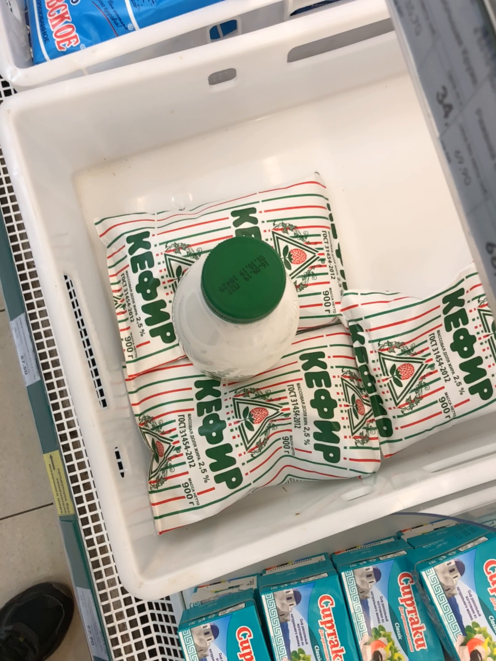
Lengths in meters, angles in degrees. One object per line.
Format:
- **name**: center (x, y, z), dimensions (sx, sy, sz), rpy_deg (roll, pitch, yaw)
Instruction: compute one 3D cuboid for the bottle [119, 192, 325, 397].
- **bottle**: center (-0.010, -0.004, 0.379), dimensions (0.090, 0.270, 0.090), rpy_deg (0, 85, 1)
